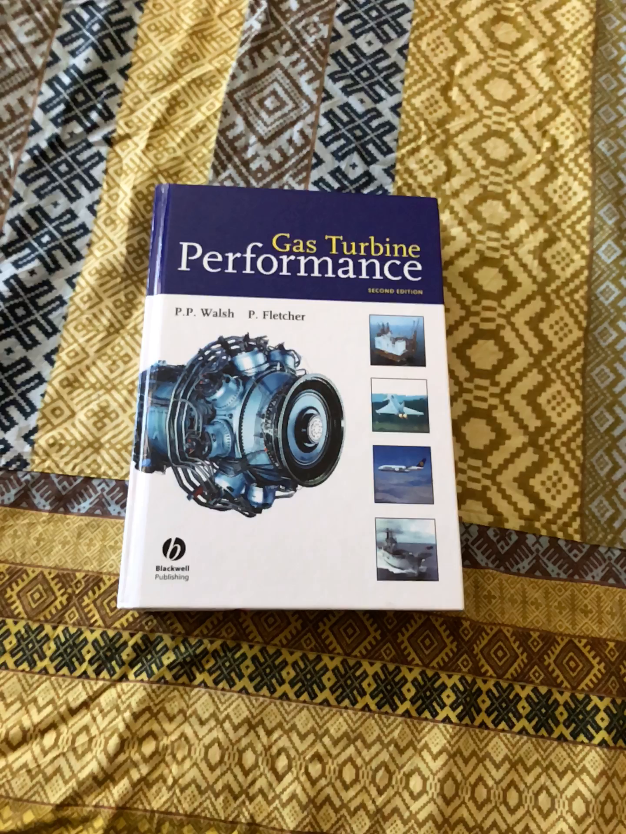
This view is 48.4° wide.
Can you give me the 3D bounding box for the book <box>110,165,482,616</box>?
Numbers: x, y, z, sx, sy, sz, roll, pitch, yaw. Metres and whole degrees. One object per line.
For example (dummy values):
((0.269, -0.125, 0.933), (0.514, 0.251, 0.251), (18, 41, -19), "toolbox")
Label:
((-0.011, -0.020, 0.433), (0.192, 0.060, 0.272), (1, 71, -5), "book")
